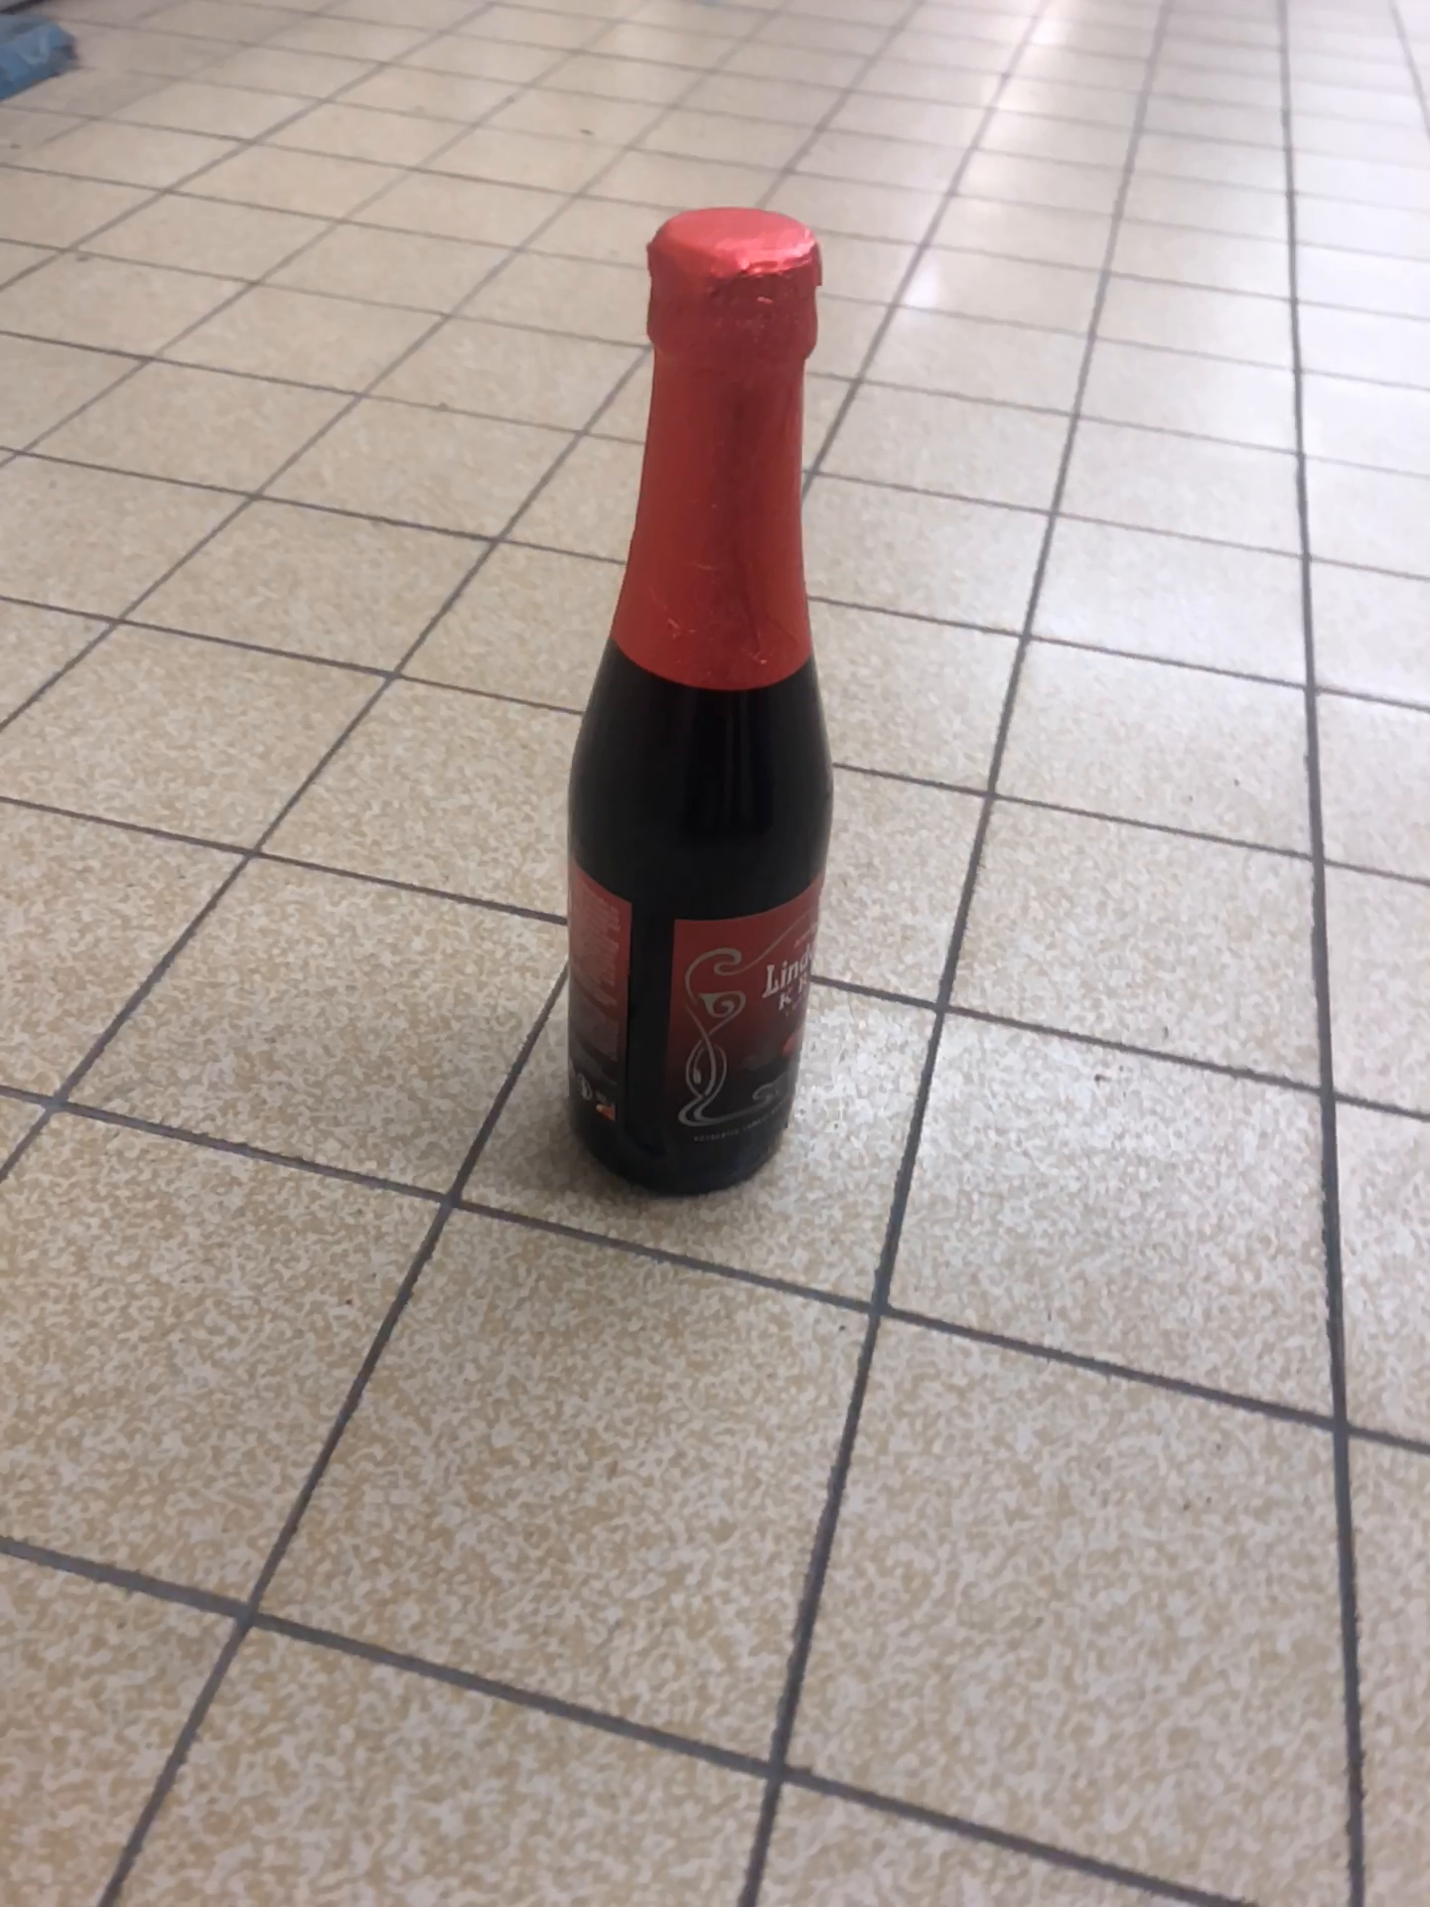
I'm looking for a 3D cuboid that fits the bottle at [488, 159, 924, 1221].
[{"bbox_3d":[-0.004,-0.038,0.311,0.060,0.199,0.060,2,42,-2],"label":"bottle"}]
